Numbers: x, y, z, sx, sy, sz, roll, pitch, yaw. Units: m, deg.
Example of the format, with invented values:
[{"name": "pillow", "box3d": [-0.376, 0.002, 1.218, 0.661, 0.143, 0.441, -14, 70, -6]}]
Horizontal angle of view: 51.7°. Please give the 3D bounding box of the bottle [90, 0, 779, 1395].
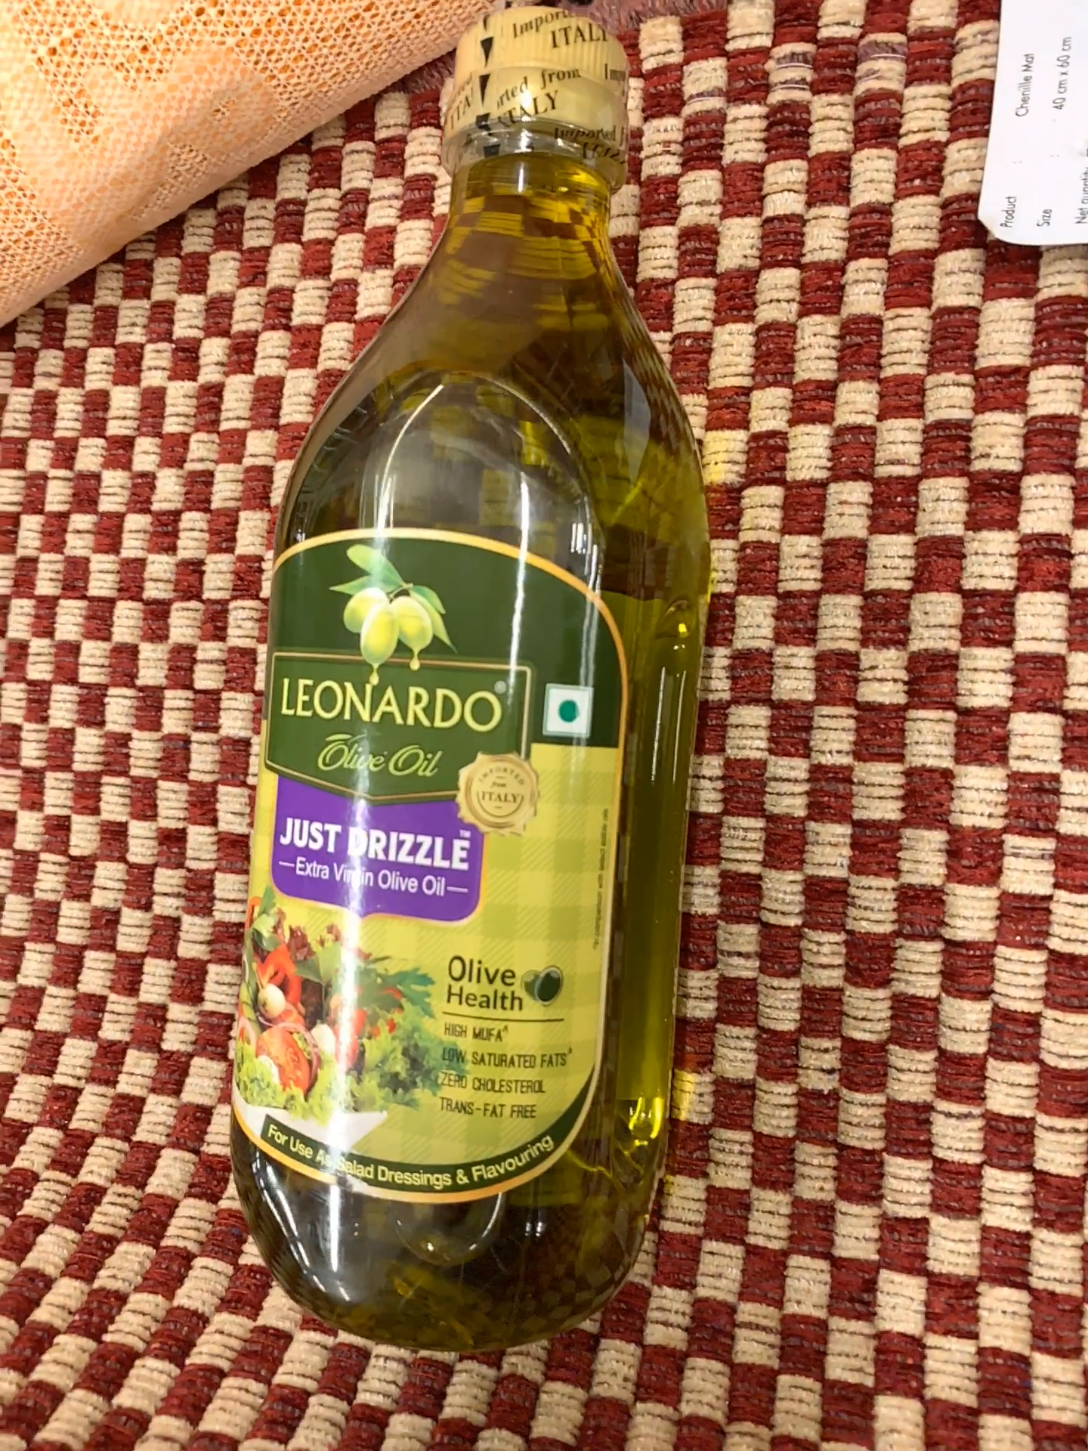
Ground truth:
[{"name": "bottle", "box3d": [-0.013, -0.024, 0.208, 0.080, 0.070, 0.240, 7, 91, 13]}]
